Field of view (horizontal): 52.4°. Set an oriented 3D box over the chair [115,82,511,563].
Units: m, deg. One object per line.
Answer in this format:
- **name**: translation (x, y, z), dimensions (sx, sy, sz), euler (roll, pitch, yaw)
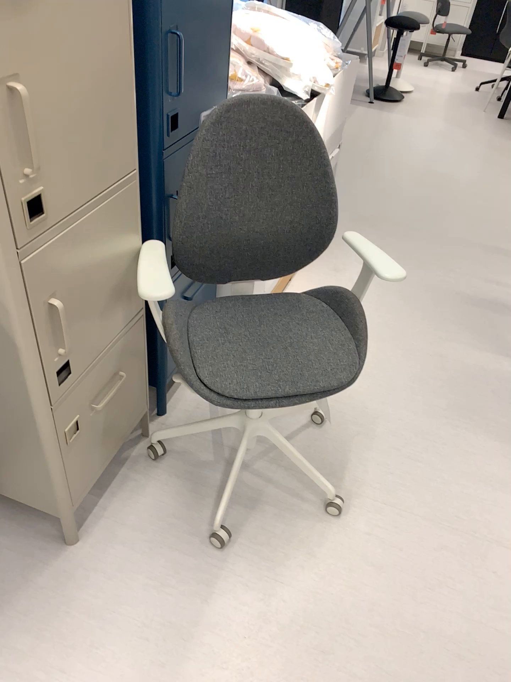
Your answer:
- **chair**: translation (0.023, -0.043, 1.382), dimensions (0.650, 0.996, 0.672), euler (-6, 42, -16)
